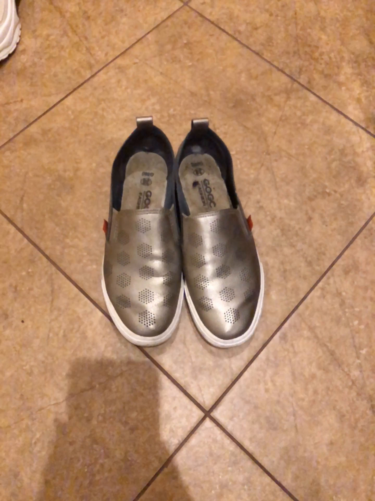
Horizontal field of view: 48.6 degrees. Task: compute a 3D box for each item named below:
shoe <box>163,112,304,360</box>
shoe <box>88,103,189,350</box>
[{"bbox_3d":[0.037,-0.014,0.459,0.100,0.110,0.241,-6,71,-4],"label":"shoe"},{"bbox_3d":[-0.051,-0.026,0.460,0.090,0.100,0.251,-2,70,-3],"label":"shoe"}]
